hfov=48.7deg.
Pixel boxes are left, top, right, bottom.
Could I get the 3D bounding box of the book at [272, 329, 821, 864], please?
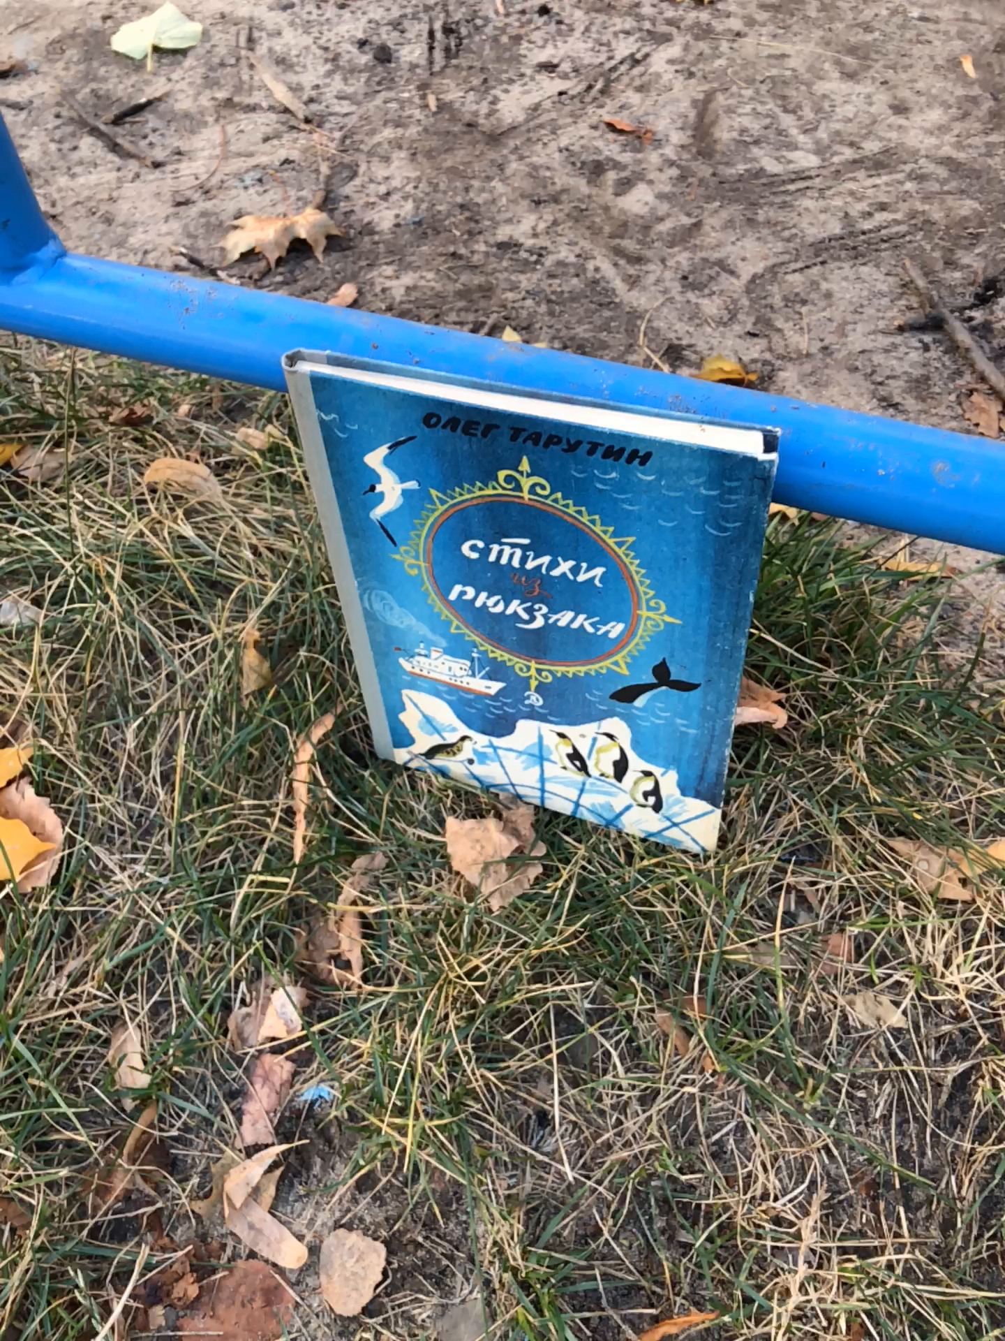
[{"bbox_3d":[0.010,-0.017,0.435,0.179,0.209,0.023,14,47,12],"label":"book"}]
